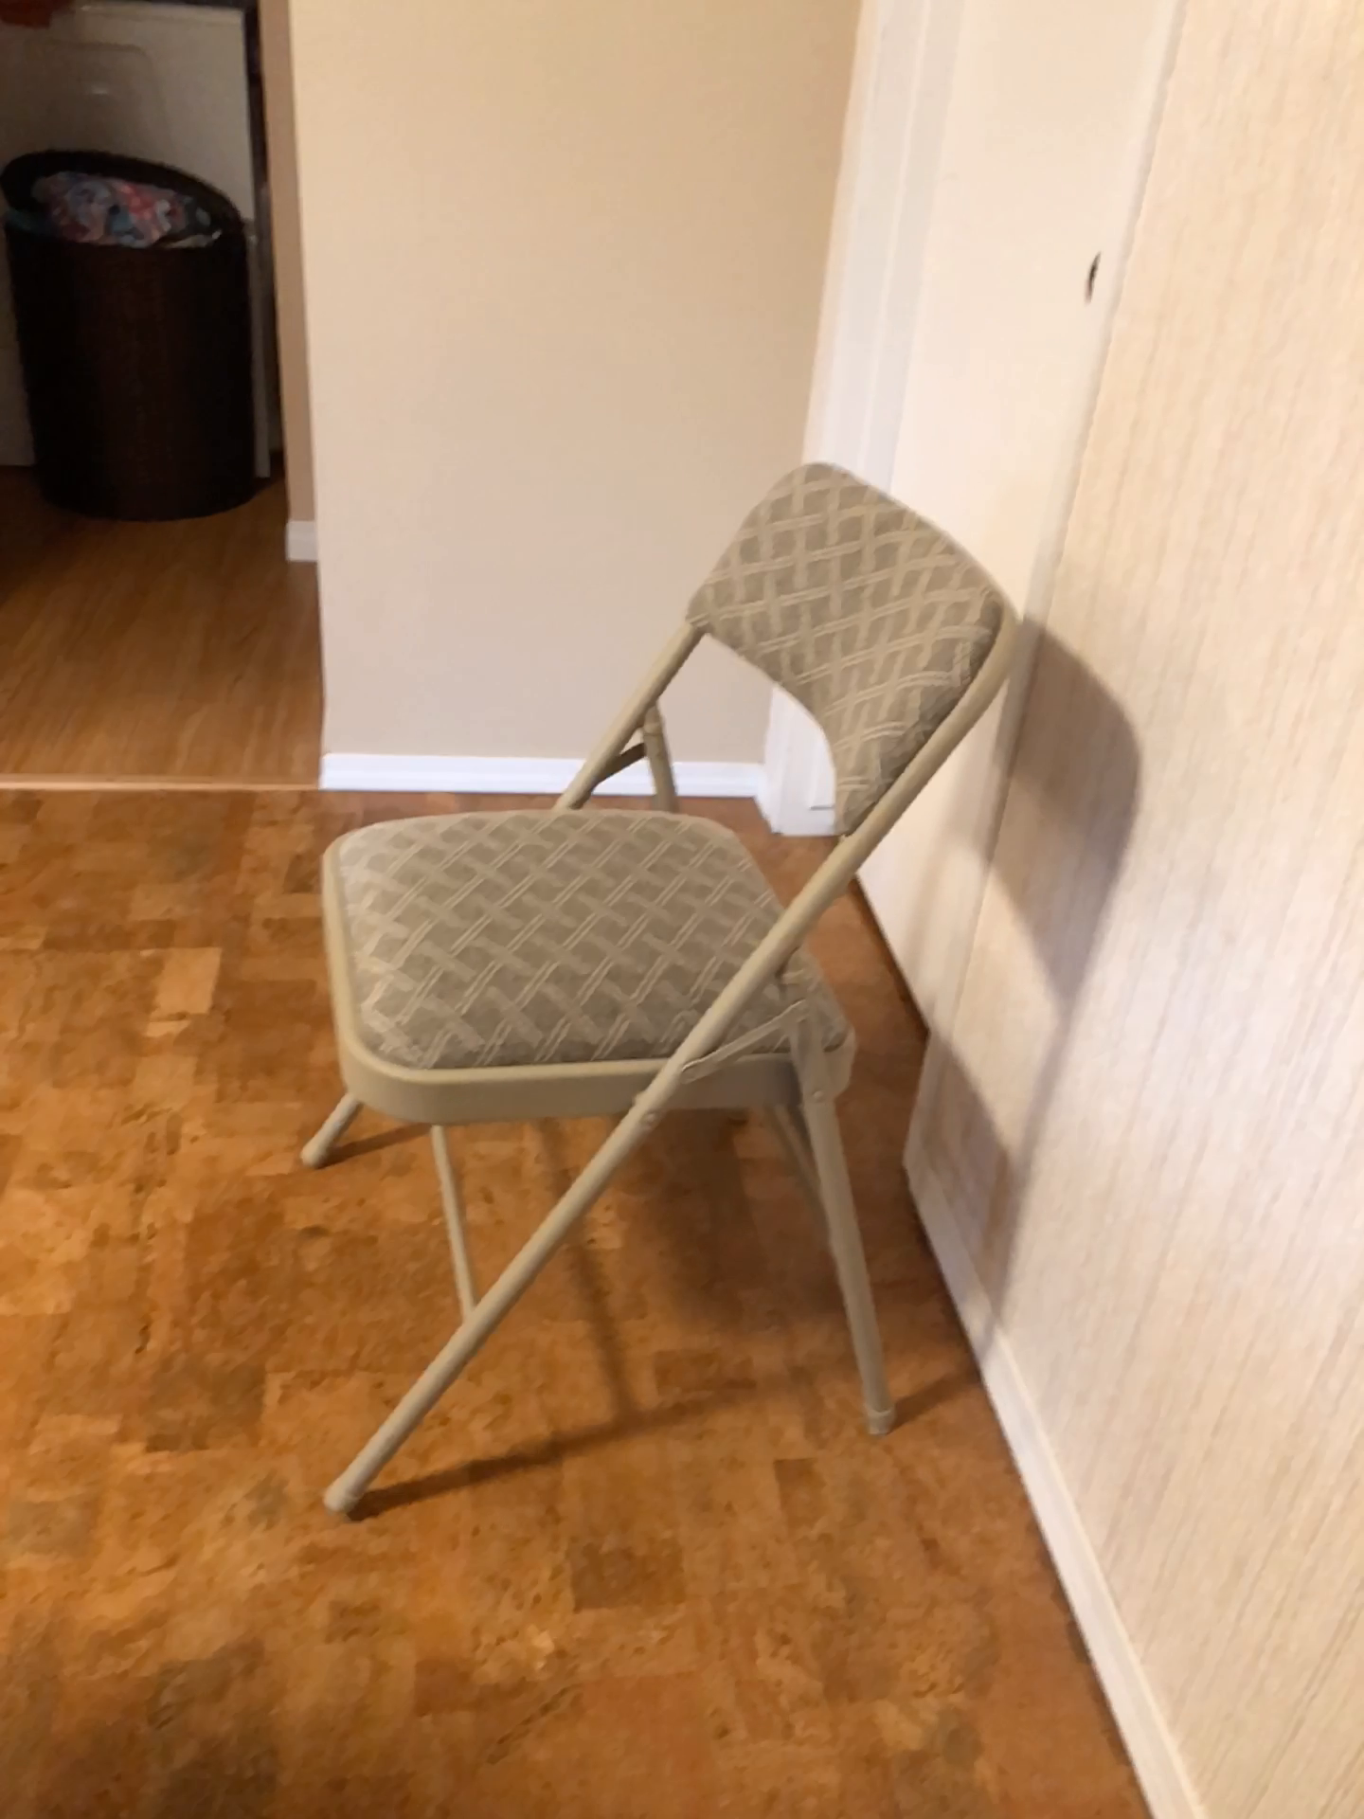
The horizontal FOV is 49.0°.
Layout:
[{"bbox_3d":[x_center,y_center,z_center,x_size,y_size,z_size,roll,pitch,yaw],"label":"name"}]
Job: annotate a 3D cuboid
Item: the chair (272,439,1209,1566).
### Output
[{"bbox_3d":[-0.030,0.055,1.273,0.560,0.757,0.492,-4,32,-15],"label":"chair"}]
